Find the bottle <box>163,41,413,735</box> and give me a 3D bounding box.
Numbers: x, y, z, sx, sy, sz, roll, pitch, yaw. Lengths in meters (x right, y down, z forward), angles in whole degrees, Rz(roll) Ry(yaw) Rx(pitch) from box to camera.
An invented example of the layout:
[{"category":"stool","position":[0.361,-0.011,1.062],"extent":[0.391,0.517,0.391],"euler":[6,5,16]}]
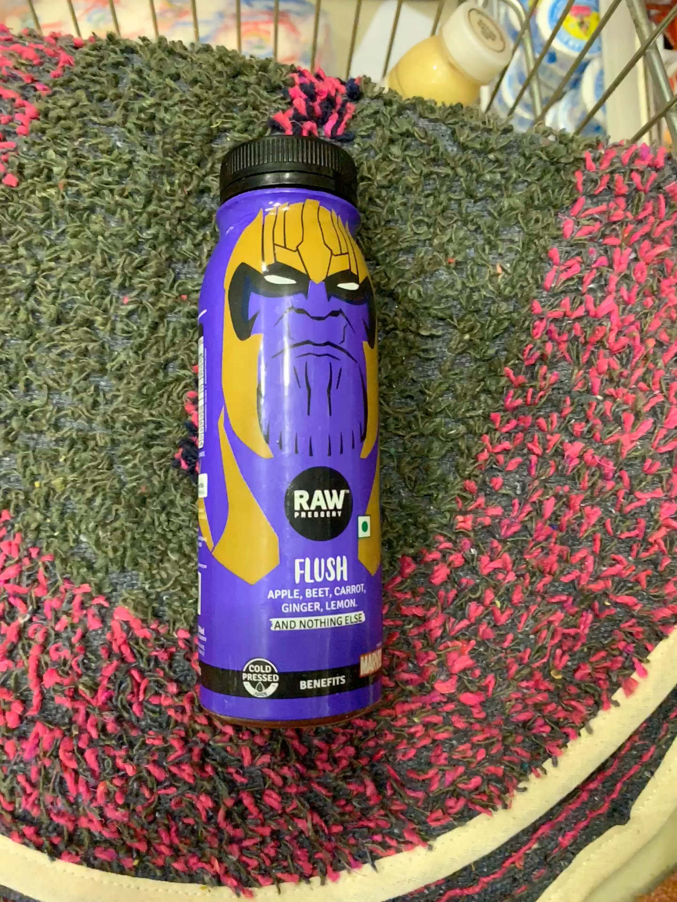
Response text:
[{"category":"bottle","position":[-0.017,-0.016,0.201],"extent":[0.060,0.050,0.170],"euler":[1,83,-14]}]
